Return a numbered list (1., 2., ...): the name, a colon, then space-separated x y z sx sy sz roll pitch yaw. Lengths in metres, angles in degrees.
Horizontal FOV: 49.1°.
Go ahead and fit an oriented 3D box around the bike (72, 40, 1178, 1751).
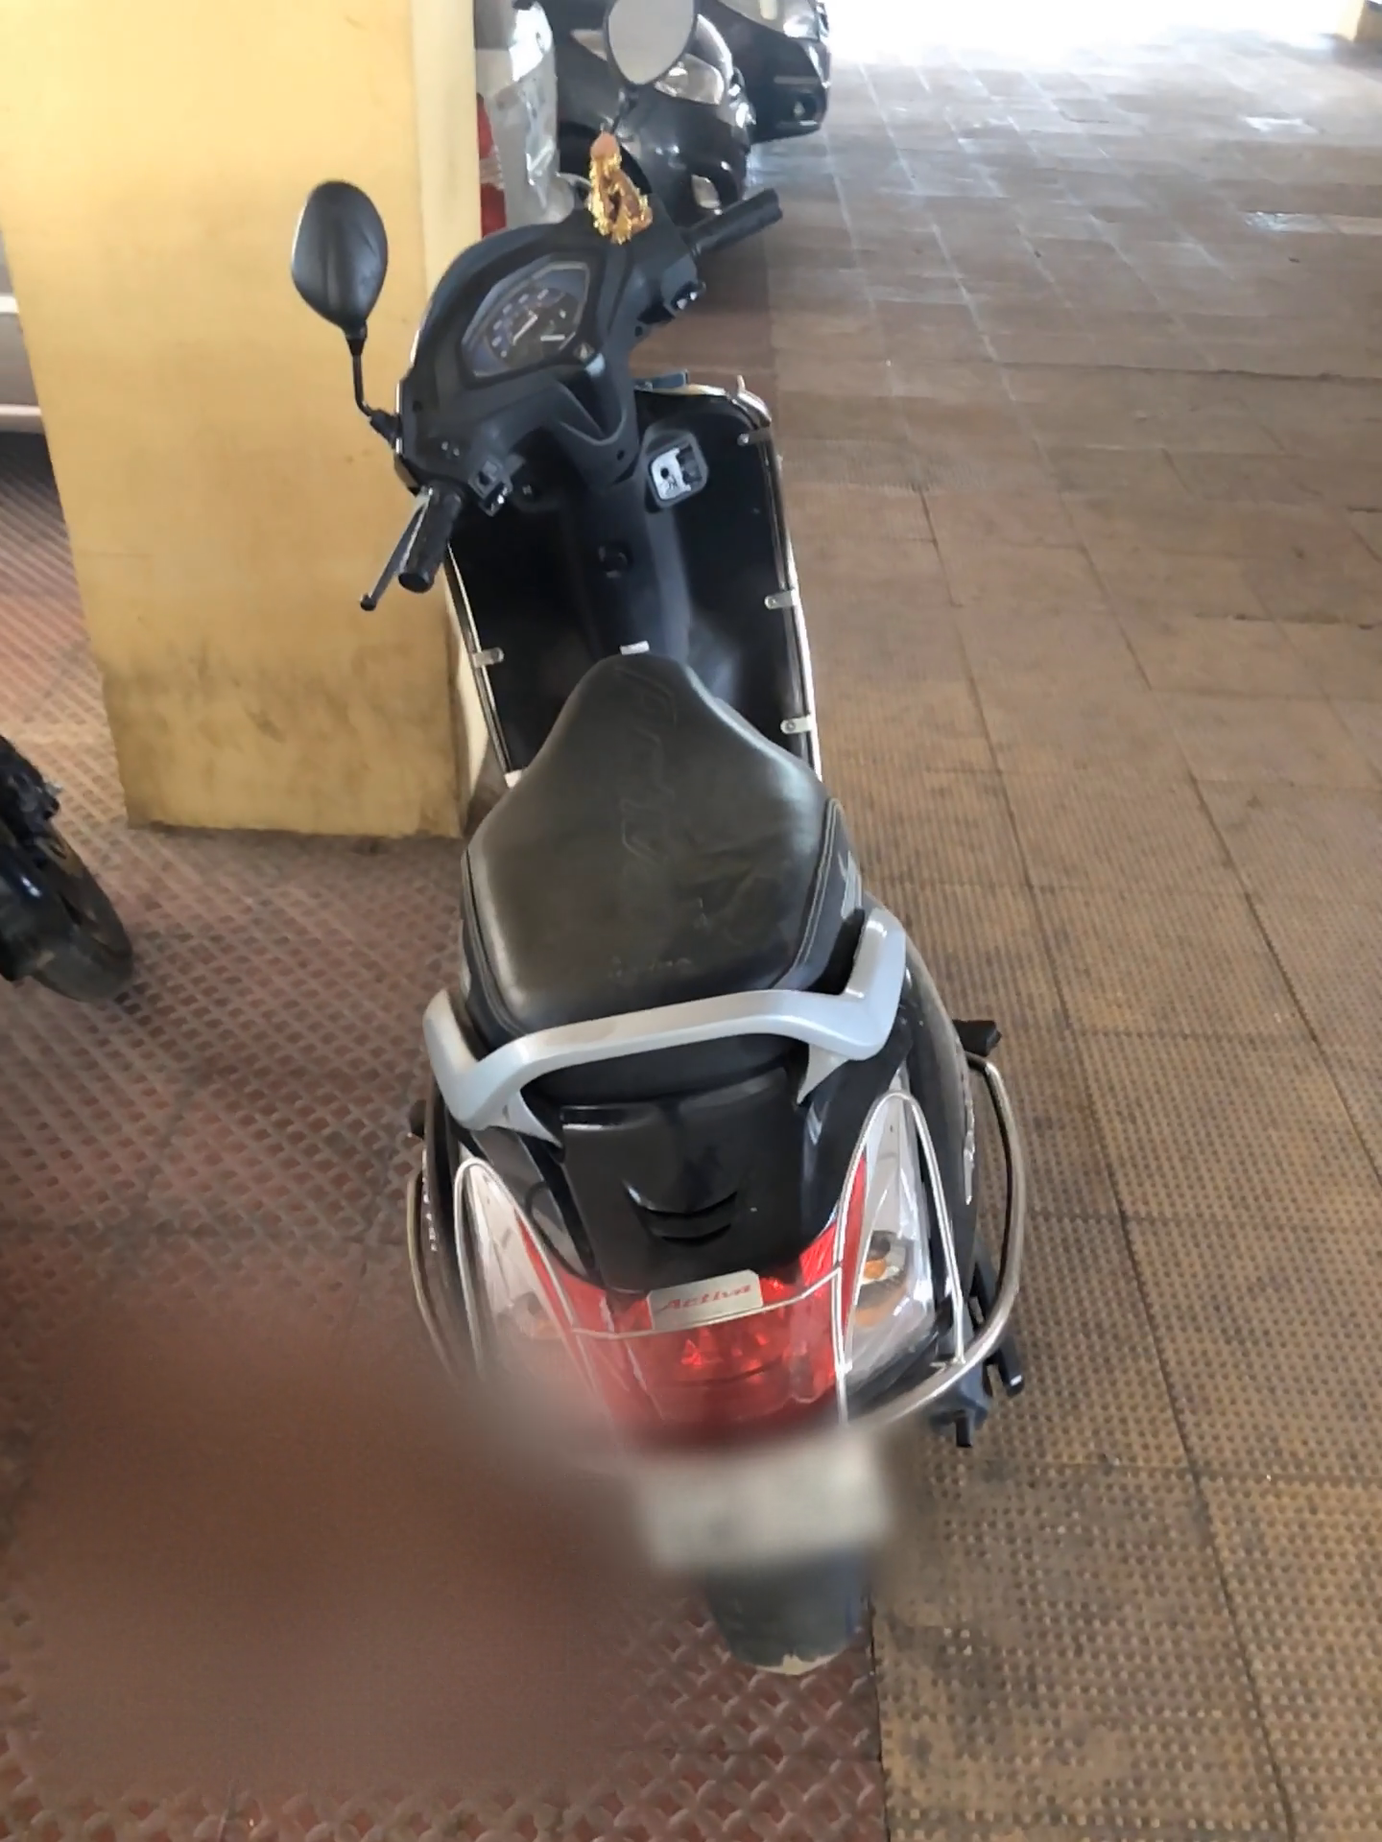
1. bike: -0.212 -0.150 1.702 0.608 1.172 1.448 -6 40 -12
